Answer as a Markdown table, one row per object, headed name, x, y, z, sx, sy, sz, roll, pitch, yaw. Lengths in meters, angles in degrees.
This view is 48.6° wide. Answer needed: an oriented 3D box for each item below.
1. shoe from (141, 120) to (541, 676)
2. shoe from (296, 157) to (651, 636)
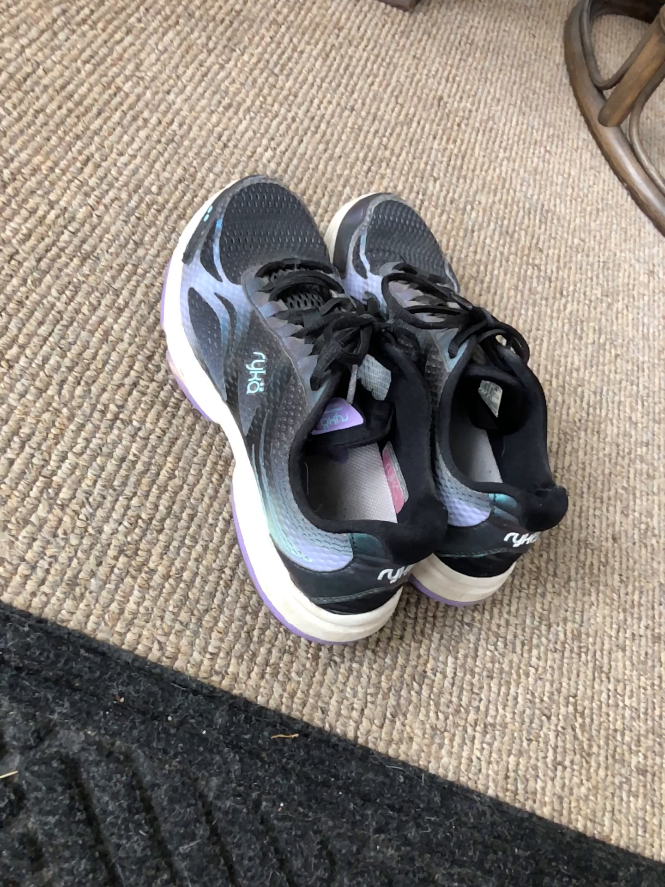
| name | x | y | z | sx | sy | sz | roll | pitch | yaw |
| --- | --- | --- | --- | --- | --- | --- | --- | --- | --- |
| shoe | -0.009 | -0.027 | 0.395 | 0.110 | 0.103 | 0.257 | -4 | 67 | -34 |
| shoe | 0.073 | -0.029 | 0.450 | 0.103 | 0.103 | 0.257 | 0 | 65 | -33 |
